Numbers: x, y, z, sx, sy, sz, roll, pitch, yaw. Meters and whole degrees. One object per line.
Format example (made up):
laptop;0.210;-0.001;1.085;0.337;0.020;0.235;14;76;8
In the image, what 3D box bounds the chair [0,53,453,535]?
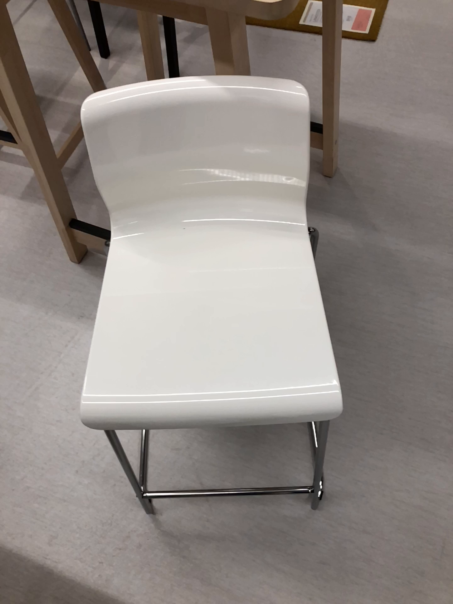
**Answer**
chair;-0.008;0.103;0.940;0.500;0.827;0.552;-4;62;1
